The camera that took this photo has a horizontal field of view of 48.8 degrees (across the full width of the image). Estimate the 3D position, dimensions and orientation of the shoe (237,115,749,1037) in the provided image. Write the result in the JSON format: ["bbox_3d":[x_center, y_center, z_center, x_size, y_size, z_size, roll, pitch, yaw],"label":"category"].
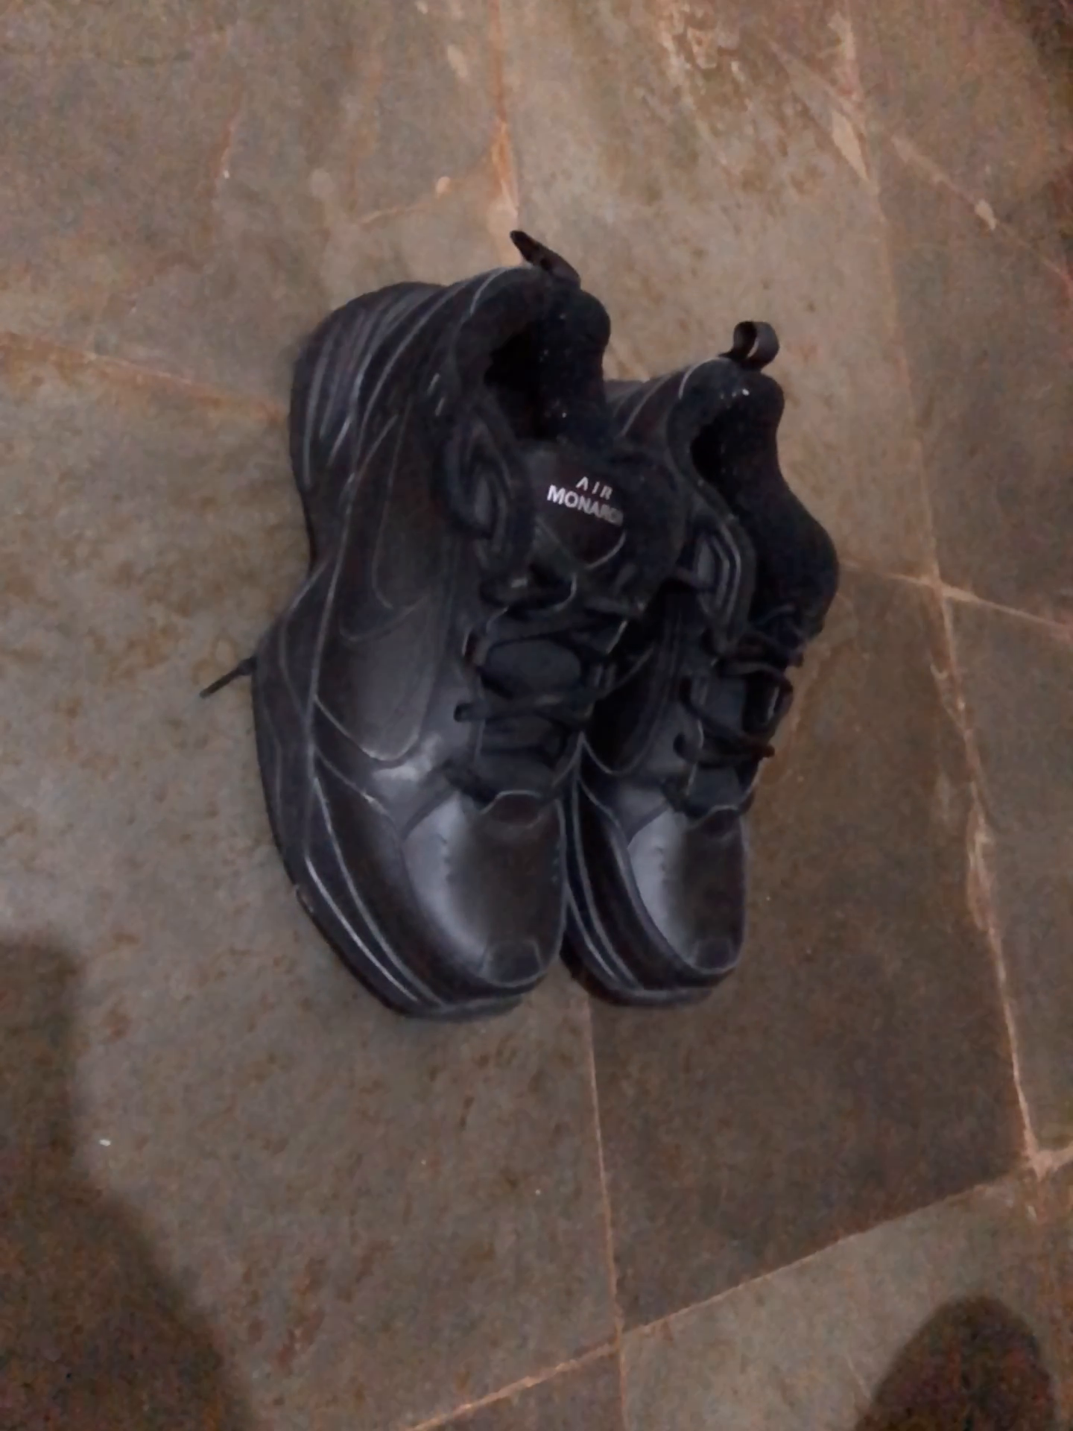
[{"bbox_3d":[-0.021,-0.037,0.423,0.121,0.109,0.280,6,74,-43],"label":"shoe"}]

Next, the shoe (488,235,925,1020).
[{"bbox_3d":[0.069,-0.028,0.516,0.121,0.109,0.300,8,73,-43],"label":"shoe"}]
